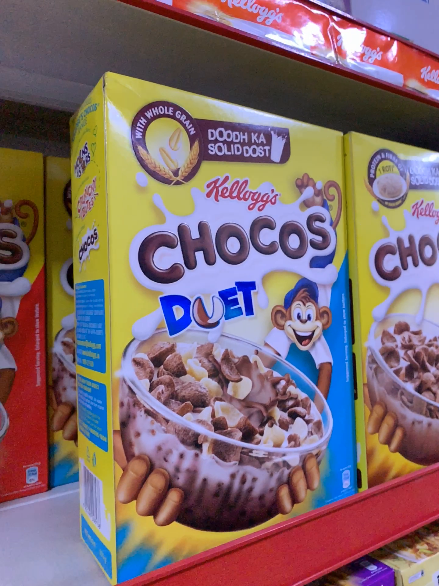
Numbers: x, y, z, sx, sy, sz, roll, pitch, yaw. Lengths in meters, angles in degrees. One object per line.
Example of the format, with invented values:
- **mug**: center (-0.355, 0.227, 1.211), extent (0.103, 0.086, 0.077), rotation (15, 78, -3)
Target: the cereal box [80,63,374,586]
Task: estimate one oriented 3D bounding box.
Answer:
- **cereal box**: center (0.011, 0.017, 0.283), extent (0.170, 0.250, 0.060), rotation (-1, -2, -34)
